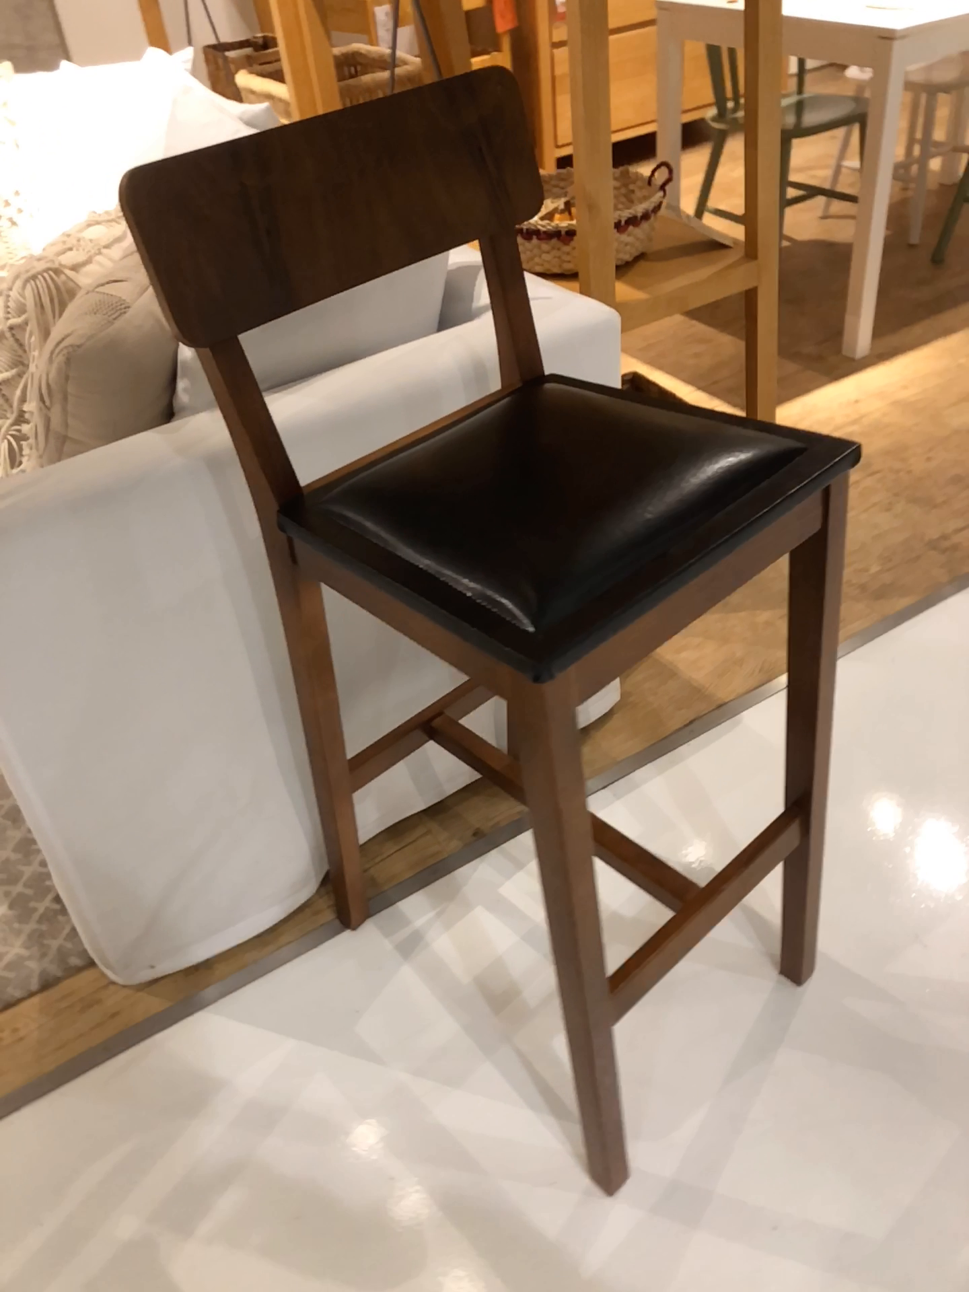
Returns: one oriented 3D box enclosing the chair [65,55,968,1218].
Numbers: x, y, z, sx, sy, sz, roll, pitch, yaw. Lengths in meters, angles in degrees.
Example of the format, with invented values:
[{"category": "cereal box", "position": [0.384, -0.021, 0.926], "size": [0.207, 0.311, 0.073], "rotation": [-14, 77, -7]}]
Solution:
[{"category": "chair", "position": [0.052, 0.010, 1.108], "size": [0.442, 1.002, 0.532], "rotation": [-33, 45, -30]}]
